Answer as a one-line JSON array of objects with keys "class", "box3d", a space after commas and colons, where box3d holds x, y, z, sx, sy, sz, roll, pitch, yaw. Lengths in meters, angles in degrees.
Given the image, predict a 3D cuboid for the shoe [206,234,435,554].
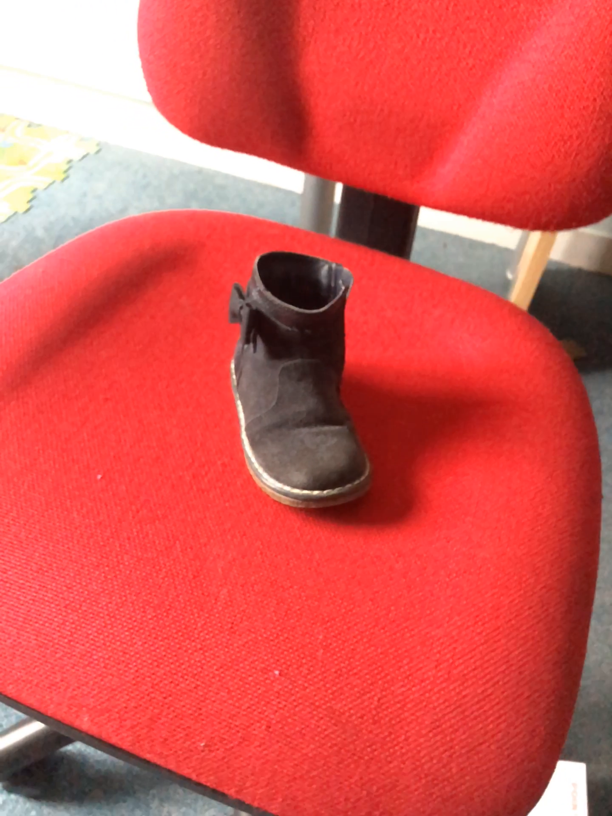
[{"class": "shoe", "box3d": [-0.002, -0.013, 0.399, 0.080, 0.099, 0.151, -10, 50, -15]}]
